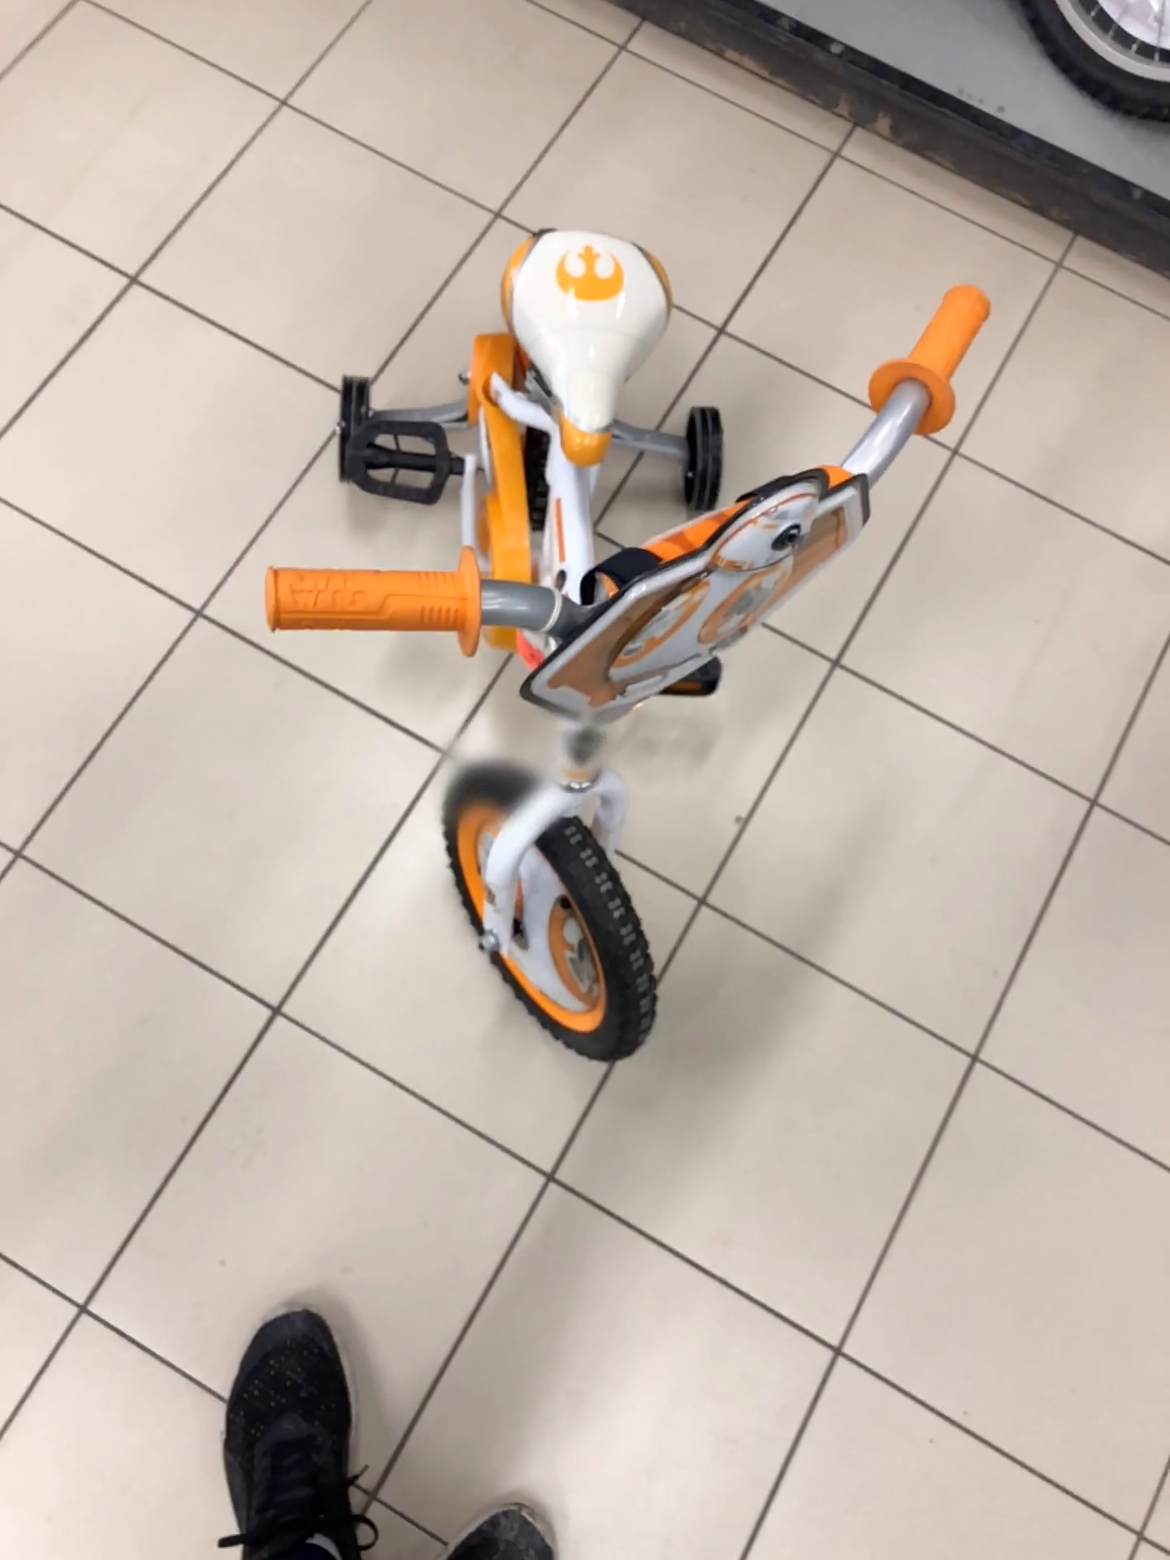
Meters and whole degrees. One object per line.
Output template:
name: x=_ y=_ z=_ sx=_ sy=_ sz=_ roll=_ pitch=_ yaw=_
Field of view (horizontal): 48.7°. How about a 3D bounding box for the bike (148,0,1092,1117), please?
bike: x=-0.030 y=-0.216 z=1.034 sx=0.435 sy=0.716 sz=0.815 roll=-6 pitch=74 yaw=-5
